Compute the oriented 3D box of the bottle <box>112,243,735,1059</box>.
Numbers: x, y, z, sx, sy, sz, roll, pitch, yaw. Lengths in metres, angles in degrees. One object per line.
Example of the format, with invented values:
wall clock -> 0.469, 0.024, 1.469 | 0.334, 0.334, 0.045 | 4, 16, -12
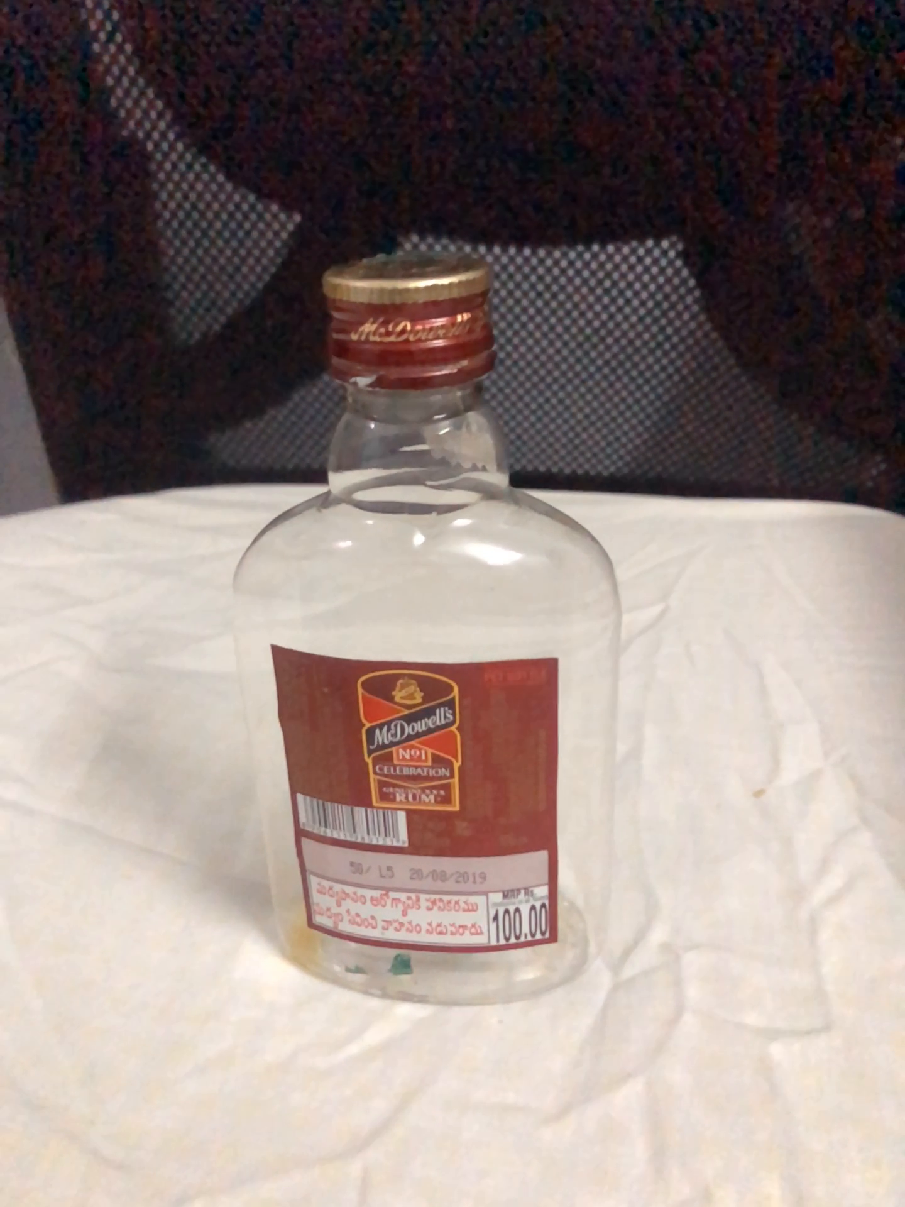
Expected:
bottle -> -0.002, 0.013, 0.180 | 0.080, 0.139, 0.040 | 3, 30, 7
